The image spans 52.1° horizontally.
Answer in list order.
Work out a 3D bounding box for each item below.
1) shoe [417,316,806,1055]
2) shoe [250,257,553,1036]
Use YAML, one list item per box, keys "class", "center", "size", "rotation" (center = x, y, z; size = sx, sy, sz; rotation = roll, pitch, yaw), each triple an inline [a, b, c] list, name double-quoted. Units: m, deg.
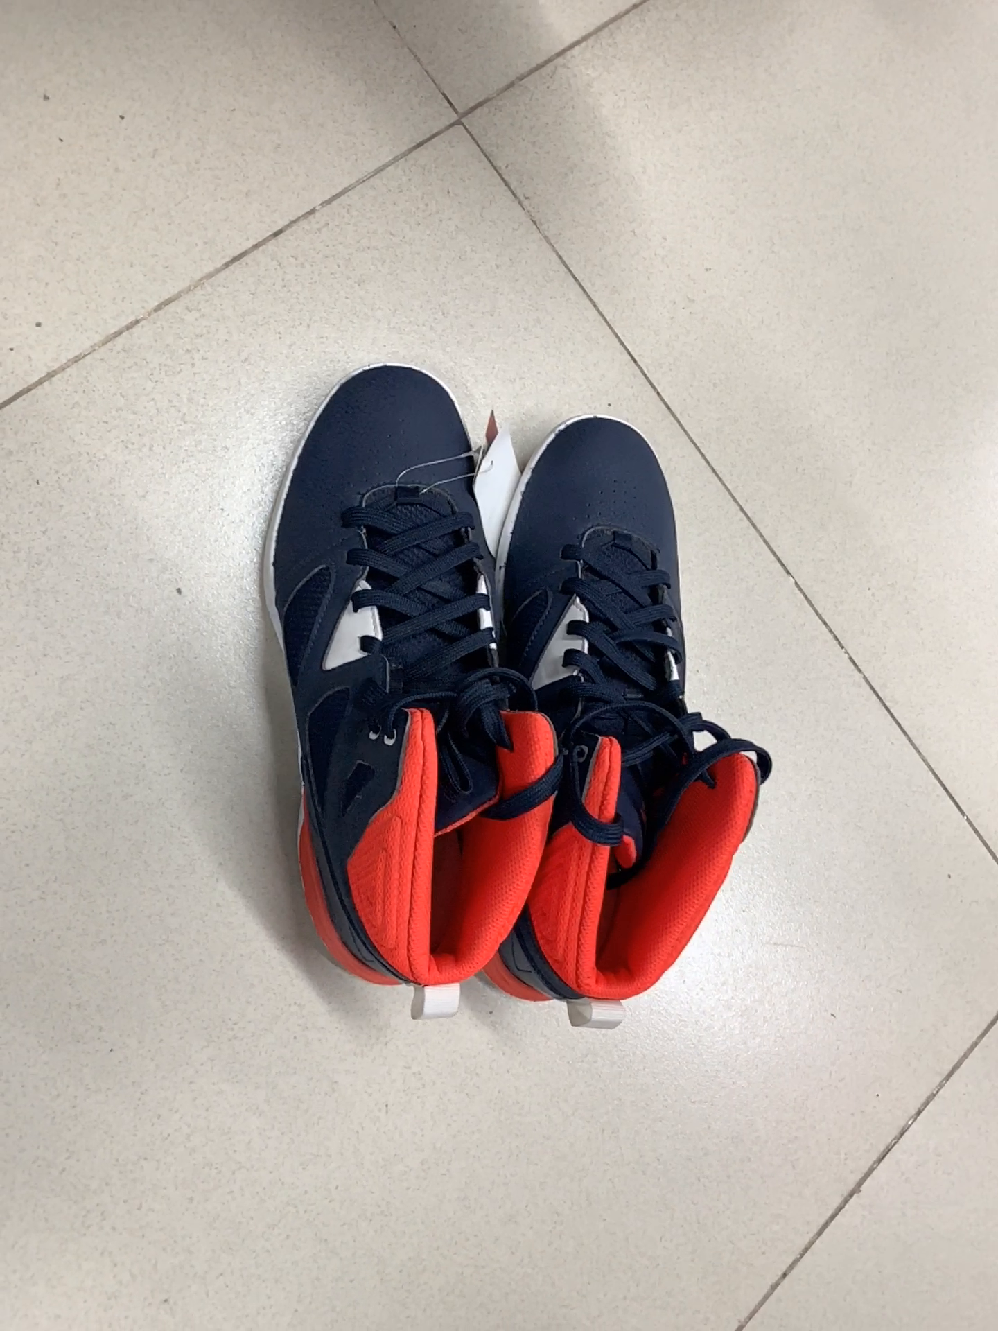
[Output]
- class: "shoe"
  center: [0.048, 0.012, 0.476]
  size: [0.110, 0.120, 0.290]
  rotation: [9, 83, -16]
- class: "shoe"
  center: [-0.045, -0.006, 0.442]
  size: [0.110, 0.100, 0.290]
  rotation: [2, 85, -16]
